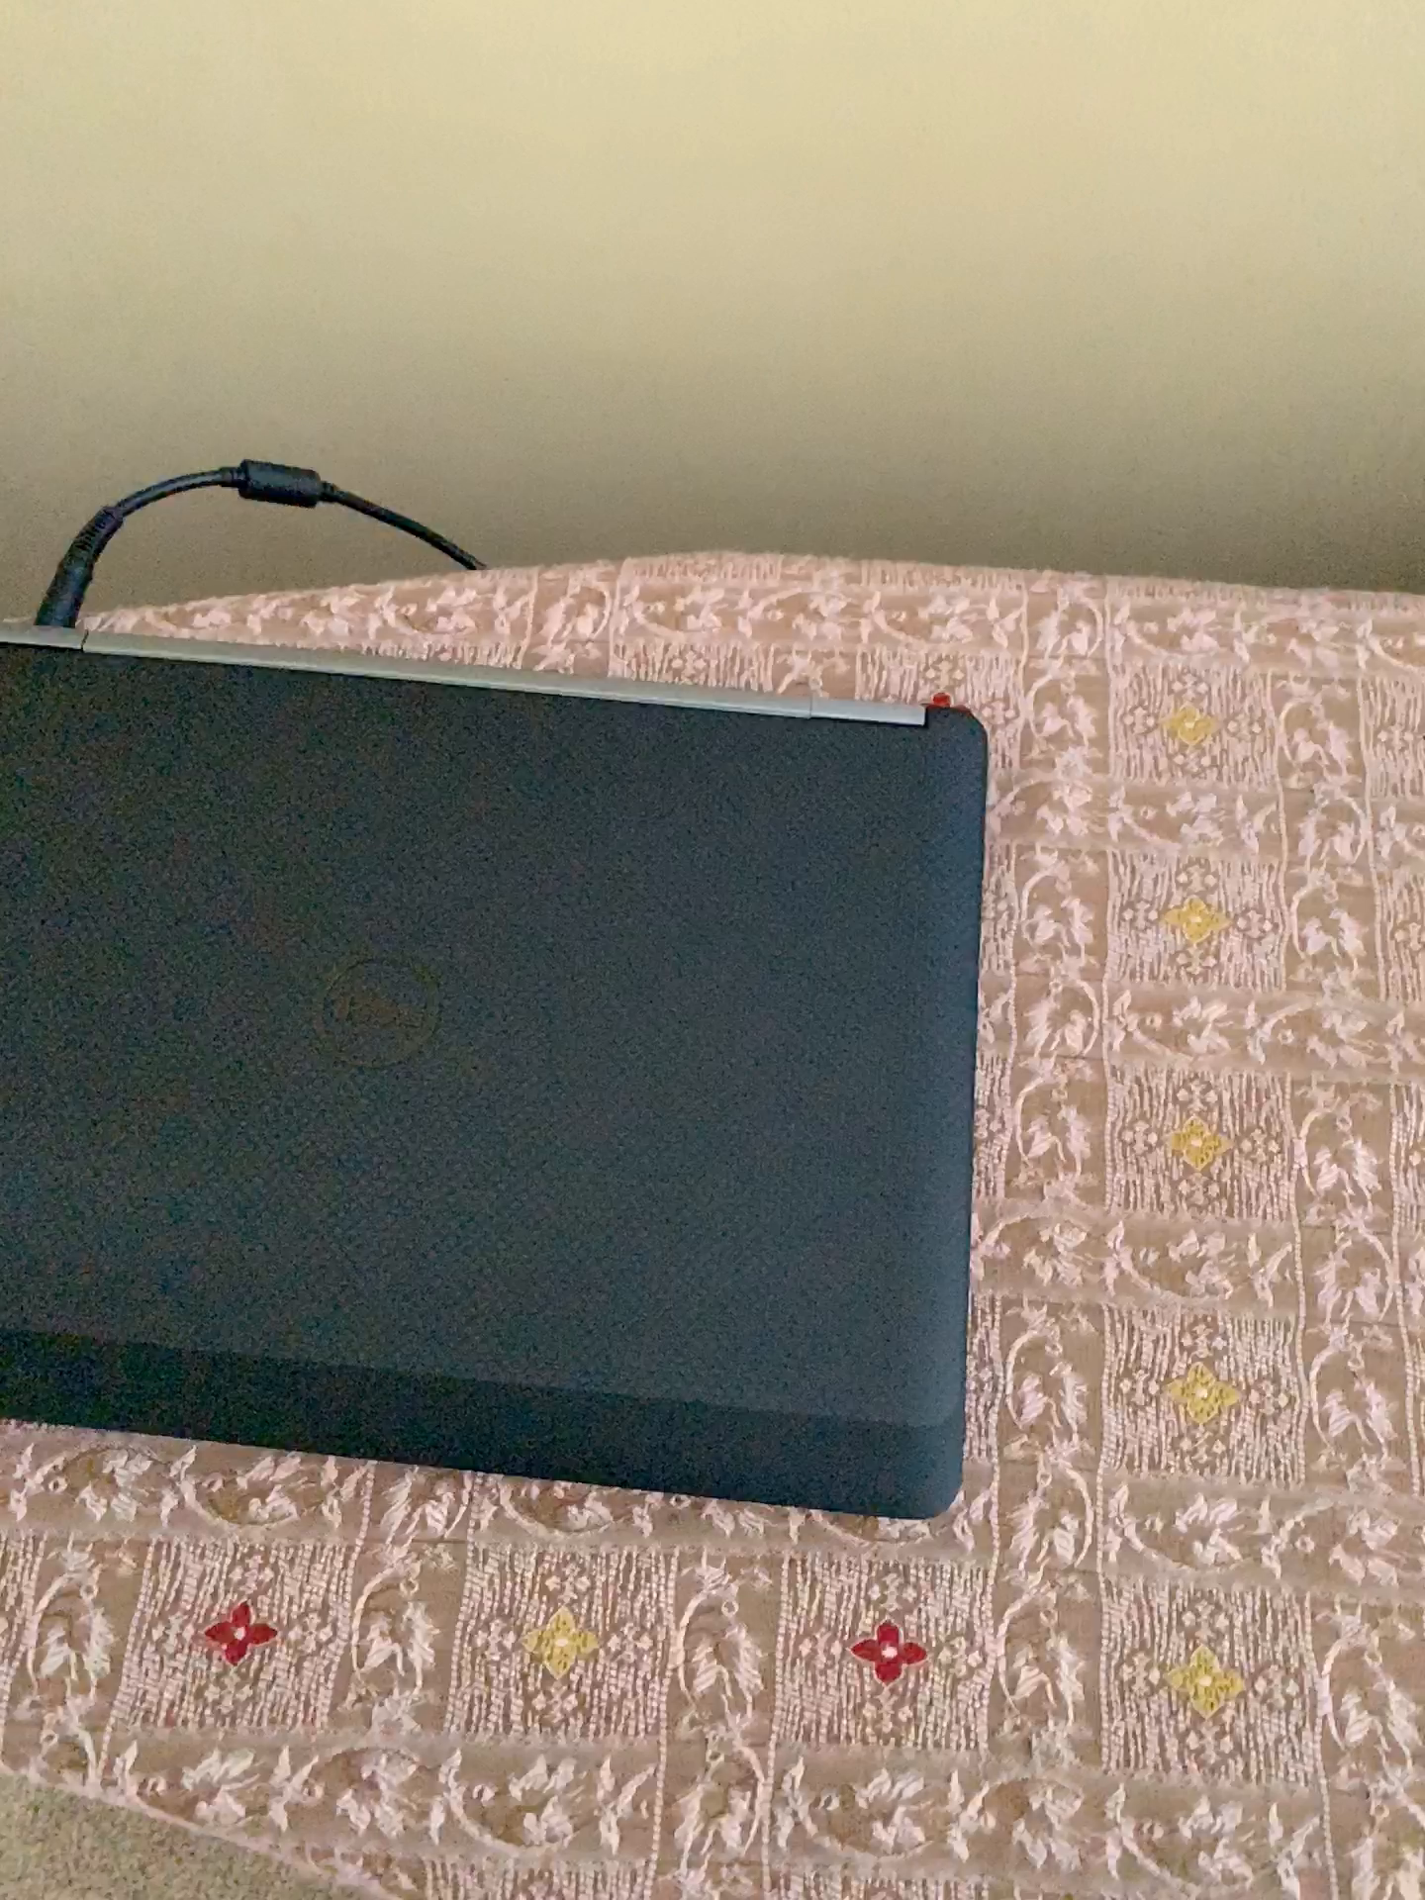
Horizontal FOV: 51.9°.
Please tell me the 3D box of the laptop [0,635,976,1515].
[{"bbox_3d":[-0.088,0.019,0.372,0.294,0.017,0.197,5,71,7],"label":"laptop"}]
